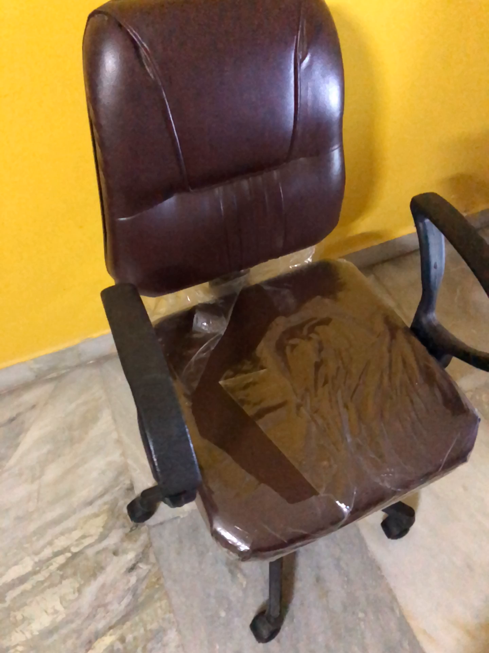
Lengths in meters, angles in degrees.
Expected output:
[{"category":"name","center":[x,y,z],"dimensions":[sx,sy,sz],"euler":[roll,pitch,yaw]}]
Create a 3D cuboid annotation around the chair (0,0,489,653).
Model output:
[{"category":"chair","center":[0.068,0.038,0.898],"dimensions":[0.691,0.975,0.682],"euler":[-23,56,-16]}]
